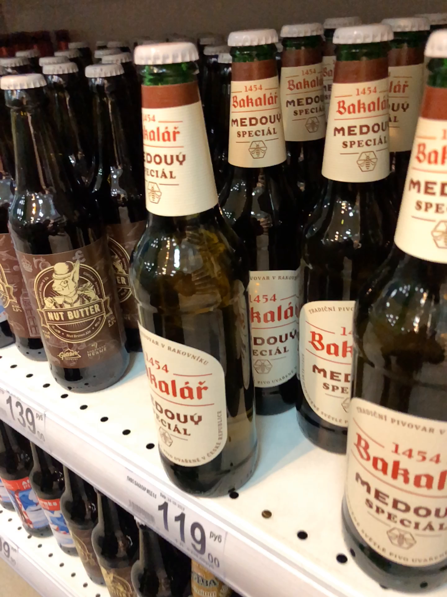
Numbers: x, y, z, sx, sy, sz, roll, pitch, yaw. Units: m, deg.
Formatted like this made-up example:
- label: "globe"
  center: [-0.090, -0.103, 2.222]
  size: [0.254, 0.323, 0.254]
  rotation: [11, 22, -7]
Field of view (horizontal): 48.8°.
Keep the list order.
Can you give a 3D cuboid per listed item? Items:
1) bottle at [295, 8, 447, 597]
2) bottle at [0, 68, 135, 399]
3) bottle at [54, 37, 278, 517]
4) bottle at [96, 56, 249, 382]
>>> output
- label: "bottle"
  center: [0.076, 0.022, 0.213]
  size: [0.061, 0.248, 0.065]
  rotation: [-3, 29, 2]
- label: "bottle"
  center: [-0.120, -0.039, 0.369]
  size: [0.069, 0.233, 0.061]
  rotation: [-6, 29, -3]
- label: "bottle"
  center: [-0.019, -0.002, 0.275]
  size: [0.066, 0.248, 0.070]
  rotation: [-3, 29, 2]
- label: "bottle"
  center: [-0.031, -0.055, 0.380]
  size: [0.069, 0.231, 0.061]
  rotation: [19, 37, 35]
